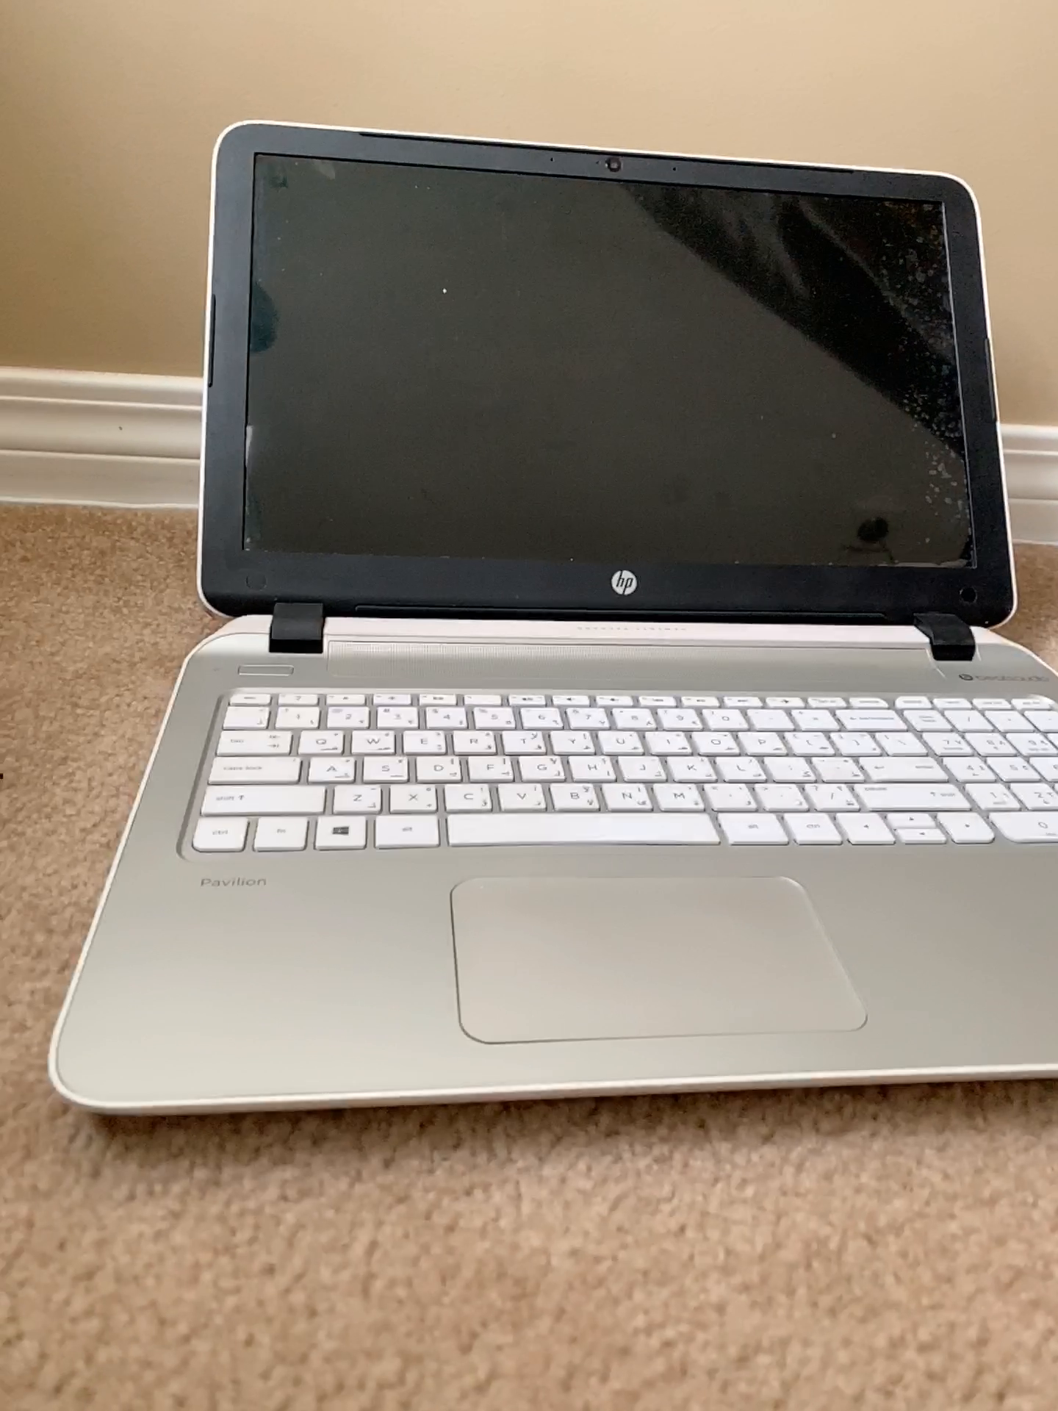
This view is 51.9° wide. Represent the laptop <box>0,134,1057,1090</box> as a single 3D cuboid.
[{"bbox_3d":[0.057,-0.078,0.379,0.349,0.187,0.351,0,29,-7],"label":"laptop"}]
